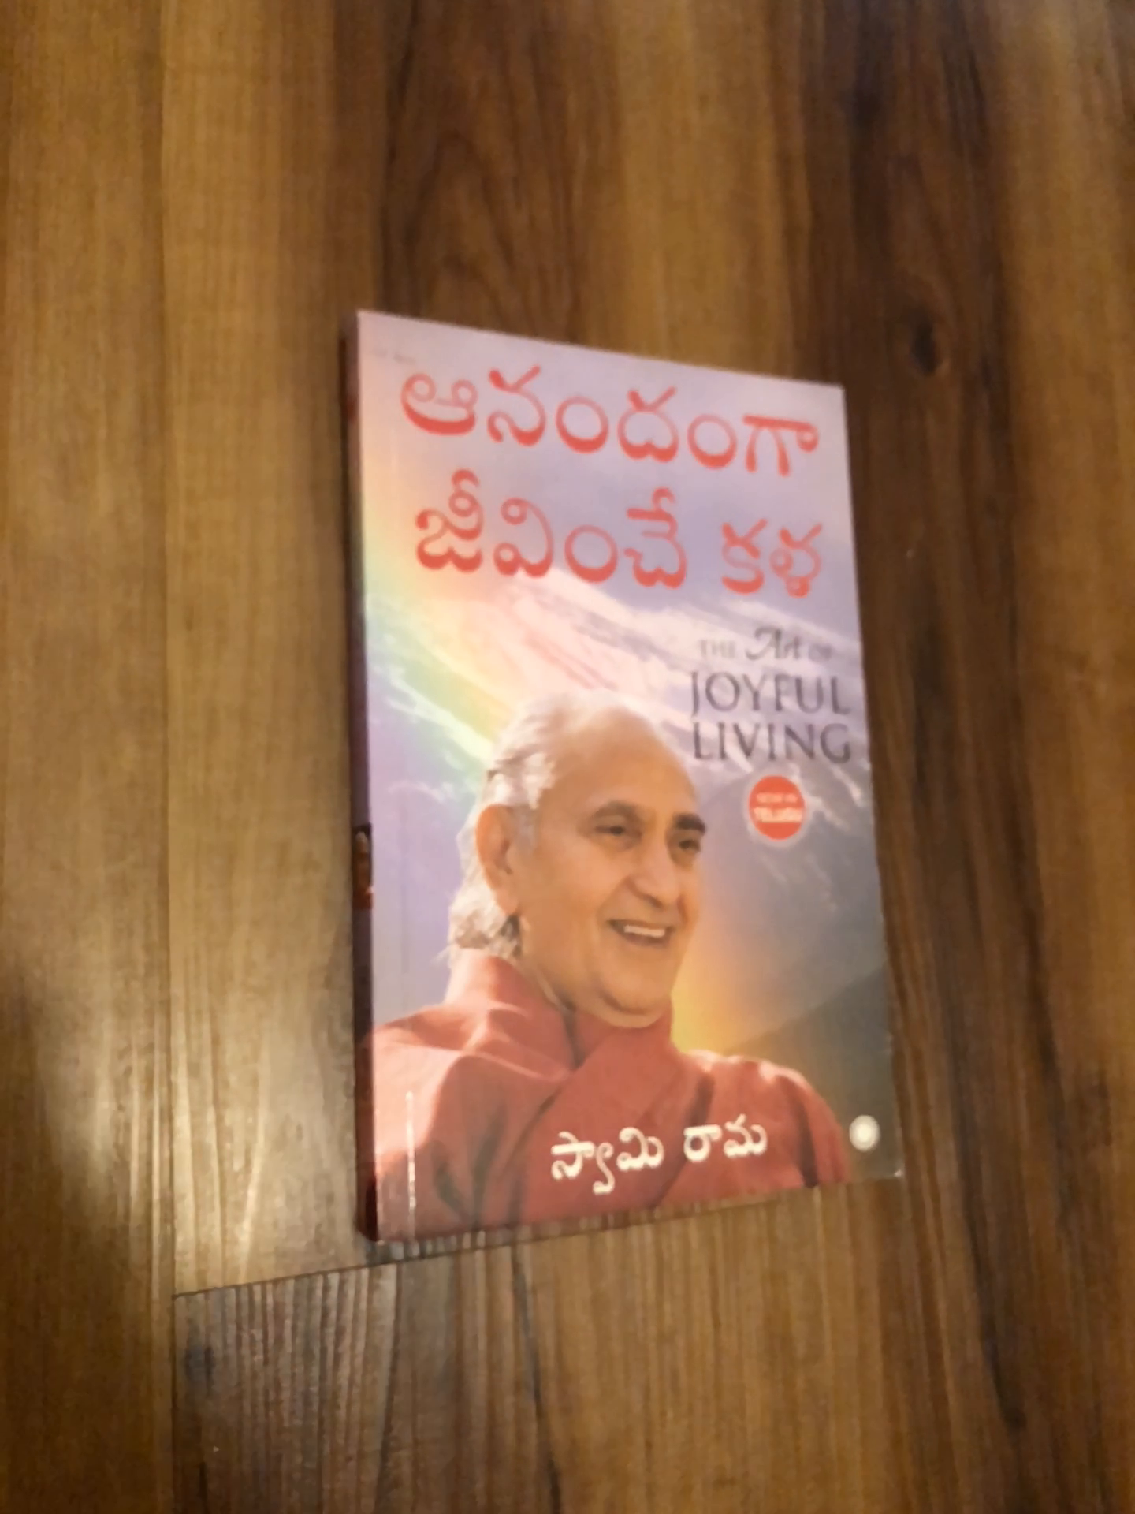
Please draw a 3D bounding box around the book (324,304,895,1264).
[{"bbox_3d":[0.012,0.004,0.327,0.145,0.020,0.219,2,83,-22],"label":"book"}]
